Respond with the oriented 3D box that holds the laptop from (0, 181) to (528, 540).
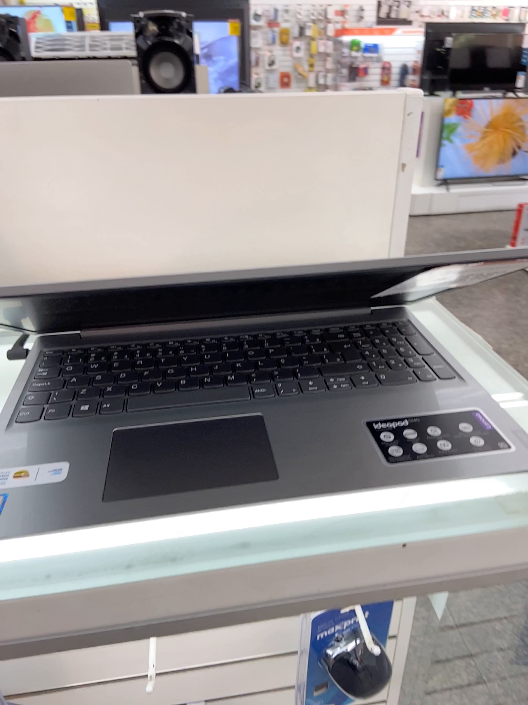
[{"bbox_3d":[-0.016,-0.026,0.390,0.354,0.122,0.240,-5,28,-7],"label":"laptop"}]
